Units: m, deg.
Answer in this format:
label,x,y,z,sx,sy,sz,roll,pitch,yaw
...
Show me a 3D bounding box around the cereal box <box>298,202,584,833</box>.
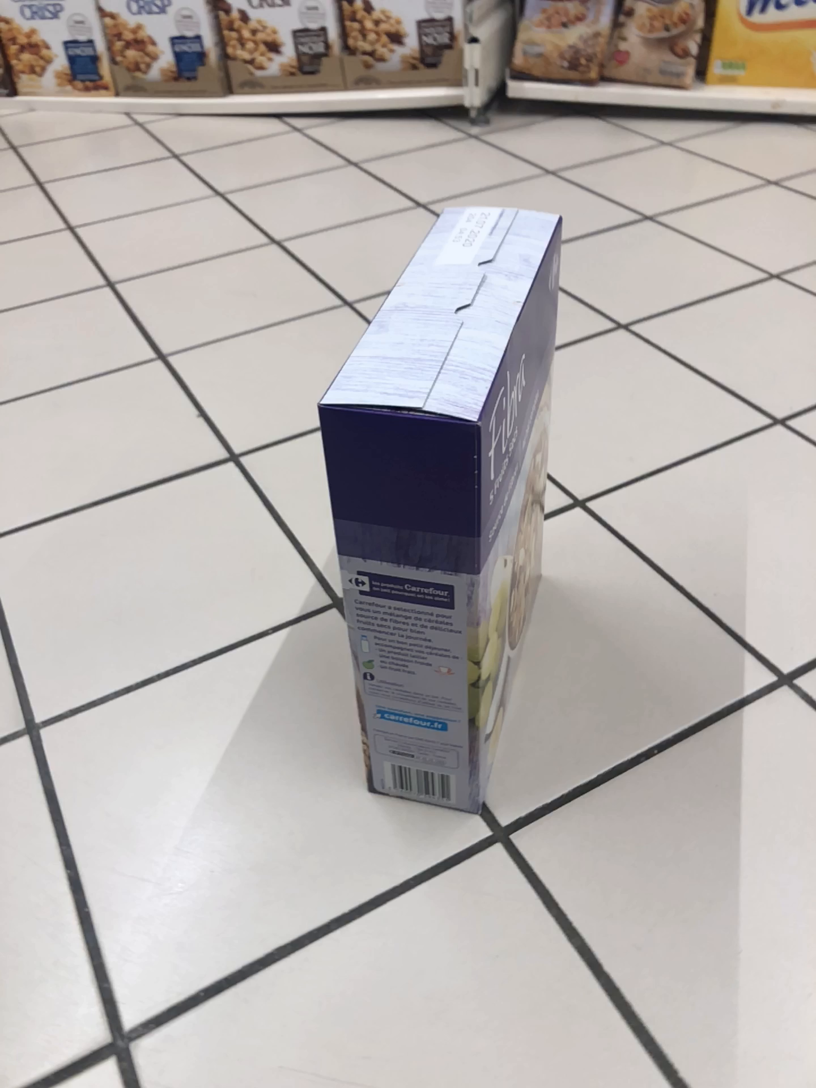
label,x,y,z,sx,sy,sz,roll,pitch,yaw
cereal box,0.032,-0.016,0.488,0.080,0.258,0.211,8,41,14
